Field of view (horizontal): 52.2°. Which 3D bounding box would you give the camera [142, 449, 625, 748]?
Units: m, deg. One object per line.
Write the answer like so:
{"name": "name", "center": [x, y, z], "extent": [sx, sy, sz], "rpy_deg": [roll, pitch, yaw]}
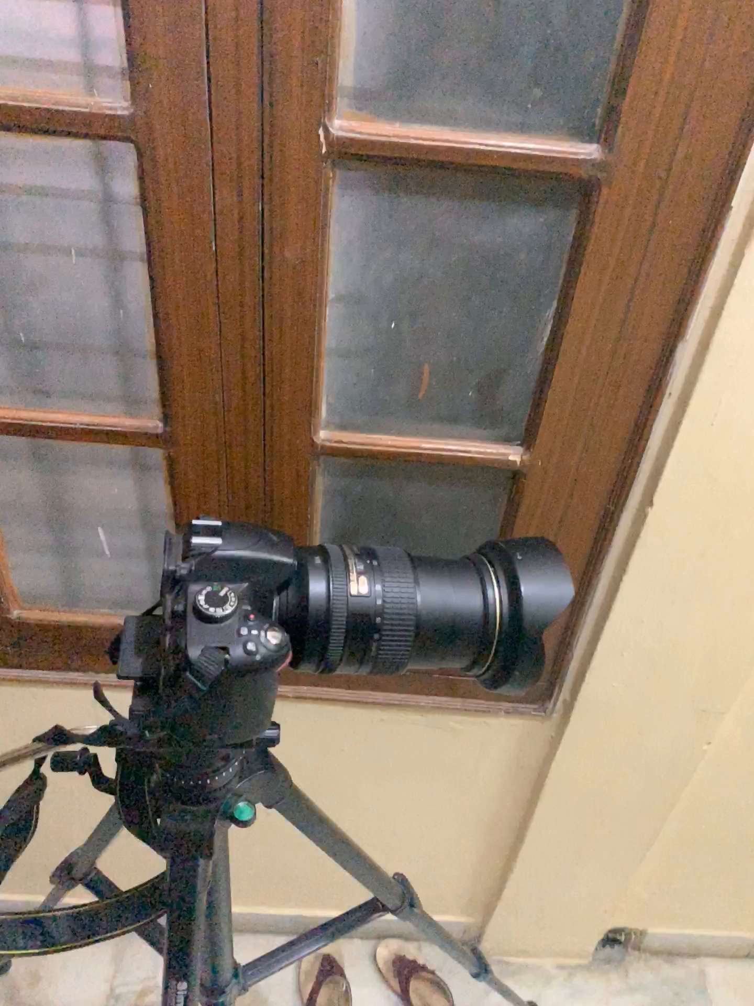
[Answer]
{"name": "camera", "center": [-0.005, 0.065, 0.508], "extent": [0.270, 0.120, 0.130], "rpy_deg": [6, 37, -11]}
